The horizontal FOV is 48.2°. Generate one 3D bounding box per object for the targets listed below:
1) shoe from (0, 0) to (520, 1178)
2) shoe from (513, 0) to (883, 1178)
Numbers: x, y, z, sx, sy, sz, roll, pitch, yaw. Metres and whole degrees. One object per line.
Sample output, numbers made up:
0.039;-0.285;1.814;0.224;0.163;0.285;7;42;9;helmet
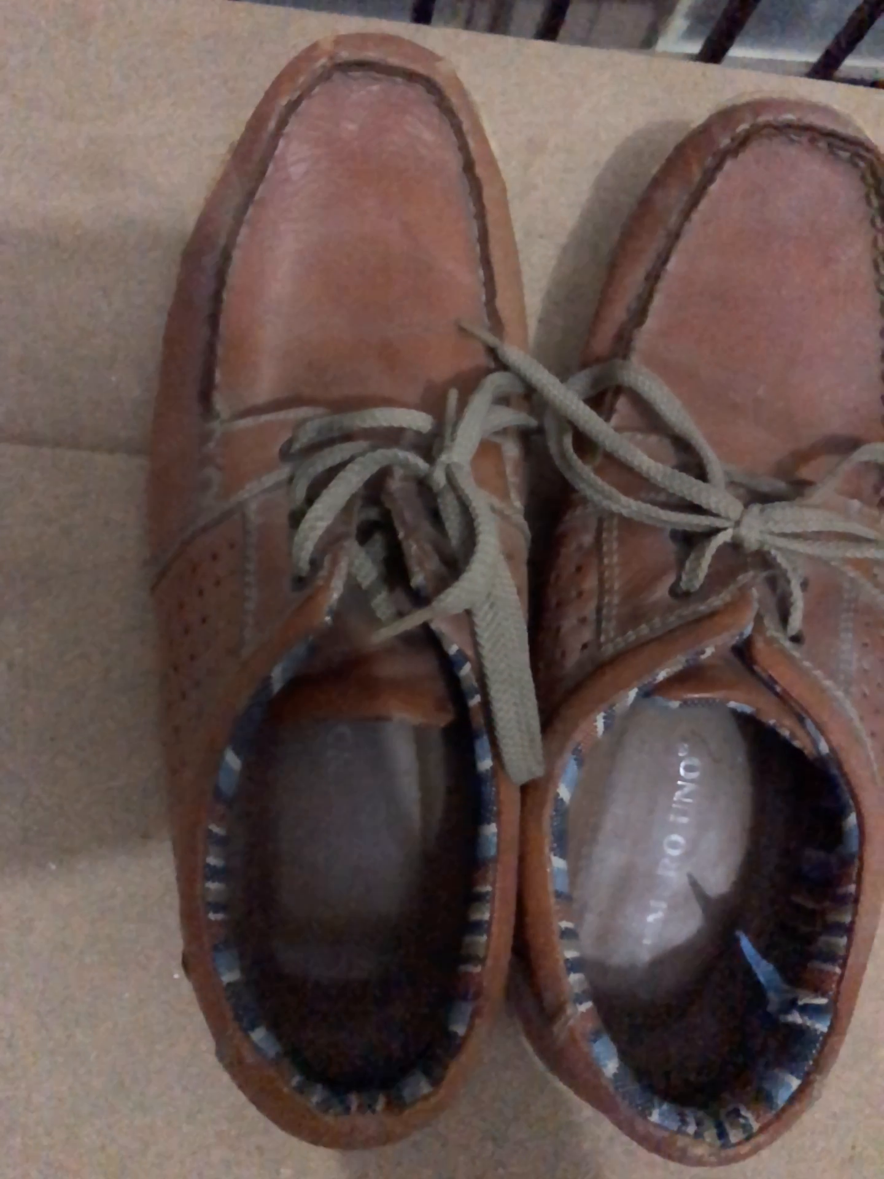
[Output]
-0.033;-0.025;0.251;0.100;0.100;0.287;1;80;2;shoe
0.084;-0.012;0.248;0.100;0.100;0.280;6;79;3;shoe
